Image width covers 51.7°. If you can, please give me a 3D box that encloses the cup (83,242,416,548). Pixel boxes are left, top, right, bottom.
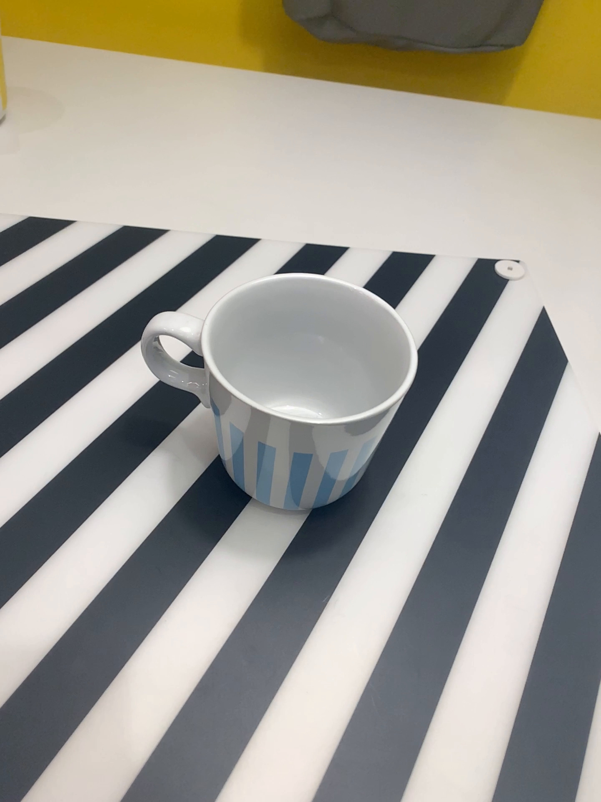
[{"bbox_3d":[-0.018,-0.004,0.265,0.110,0.070,0.080,15,47,4],"label":"cup"}]
